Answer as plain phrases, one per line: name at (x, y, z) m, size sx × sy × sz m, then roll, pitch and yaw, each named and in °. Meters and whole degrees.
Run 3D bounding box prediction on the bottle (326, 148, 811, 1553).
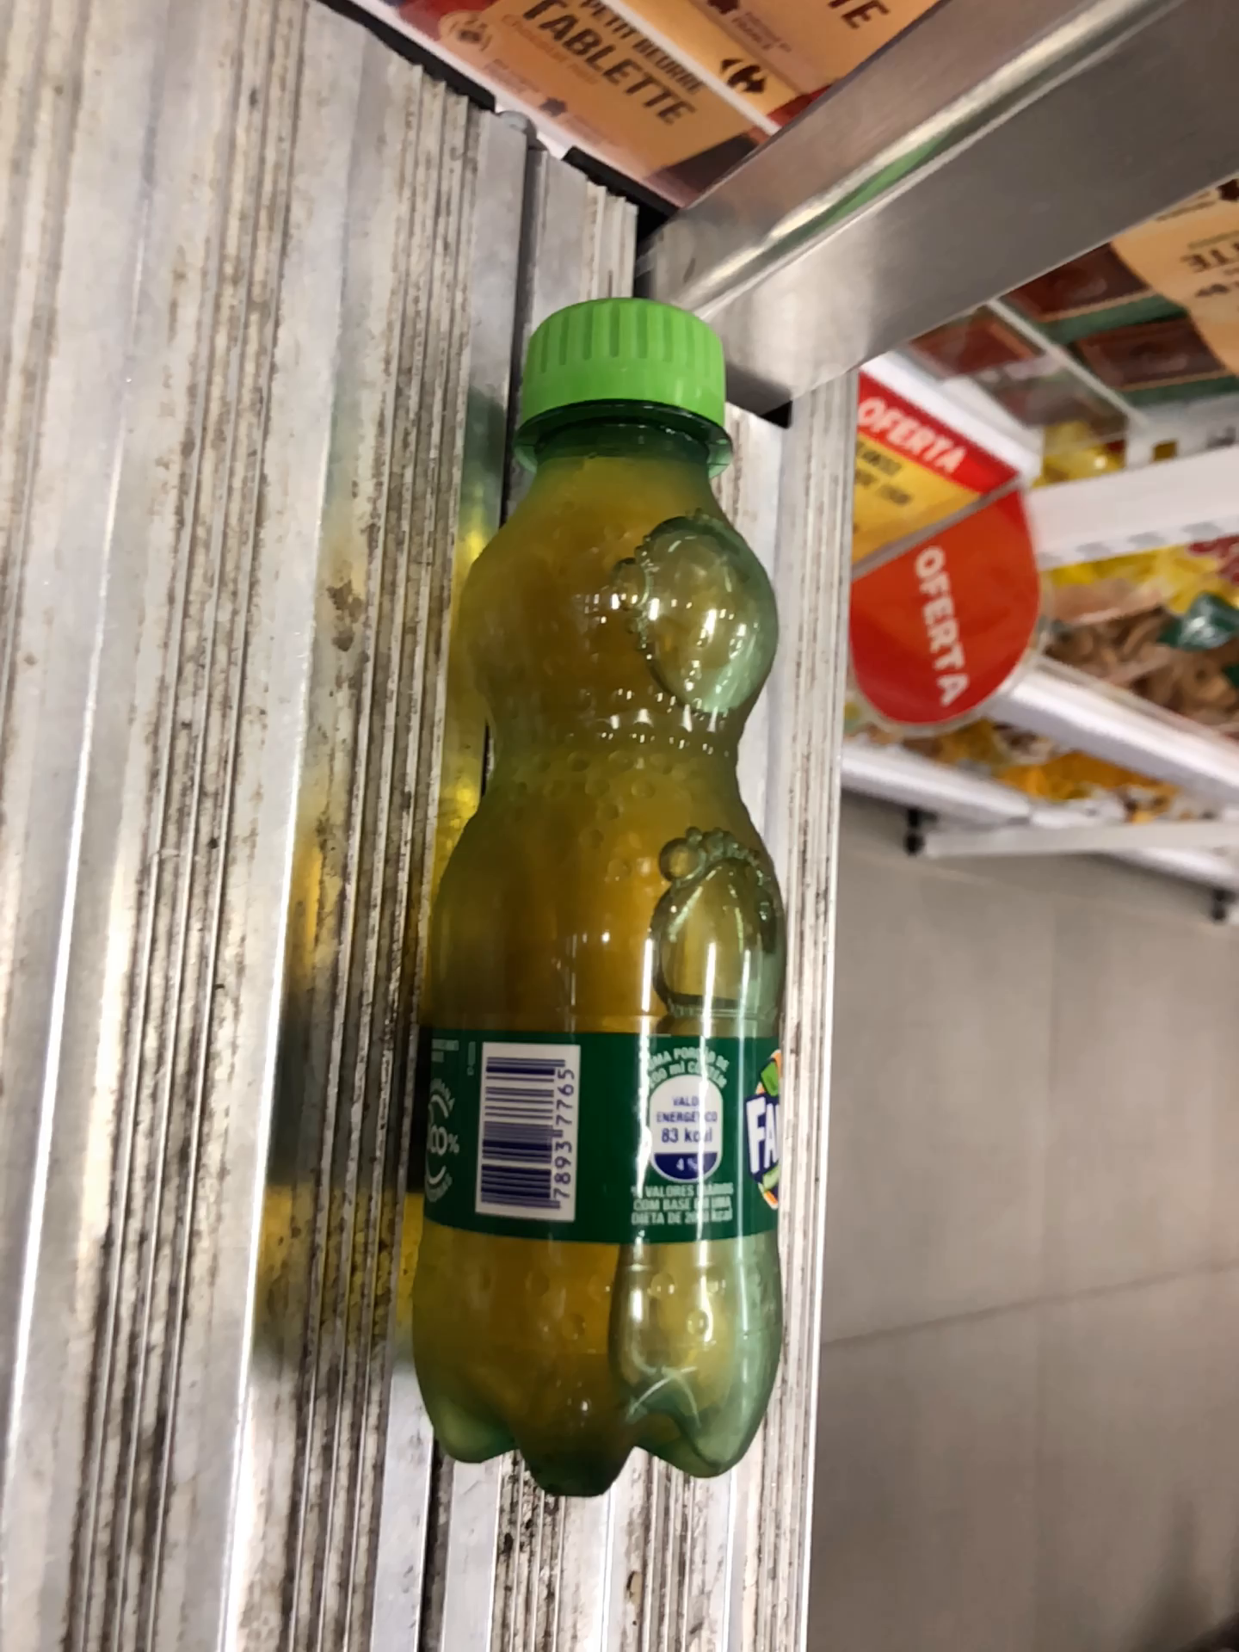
bottle at (-0.004, 0.000, 0.192) m, size 0.050 × 0.050 × 0.170 m, roll 90°, pitch 3°, yaw -81°
